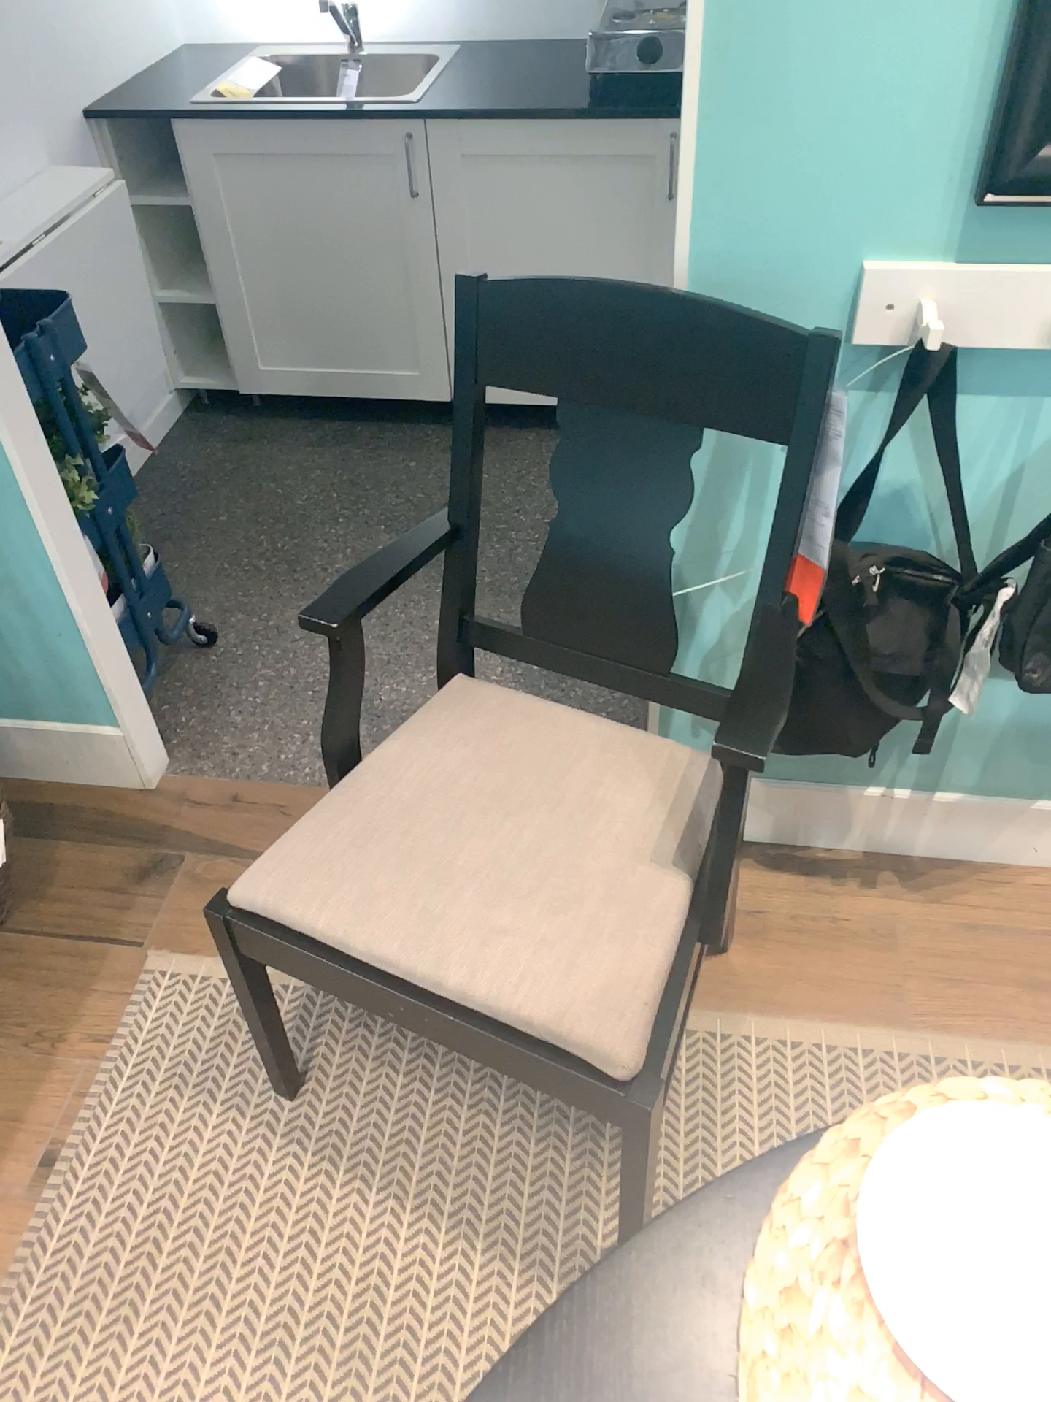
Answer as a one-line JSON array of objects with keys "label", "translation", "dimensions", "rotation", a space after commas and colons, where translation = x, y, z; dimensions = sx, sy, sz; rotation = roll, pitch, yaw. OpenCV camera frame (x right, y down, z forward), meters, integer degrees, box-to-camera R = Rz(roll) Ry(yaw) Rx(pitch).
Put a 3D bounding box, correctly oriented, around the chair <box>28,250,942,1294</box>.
[{"label": "chair", "translation": [0.044, 0.061, 1.363], "dimensions": [0.601, 0.897, 0.802], "rotation": [17, 47, 21]}]
